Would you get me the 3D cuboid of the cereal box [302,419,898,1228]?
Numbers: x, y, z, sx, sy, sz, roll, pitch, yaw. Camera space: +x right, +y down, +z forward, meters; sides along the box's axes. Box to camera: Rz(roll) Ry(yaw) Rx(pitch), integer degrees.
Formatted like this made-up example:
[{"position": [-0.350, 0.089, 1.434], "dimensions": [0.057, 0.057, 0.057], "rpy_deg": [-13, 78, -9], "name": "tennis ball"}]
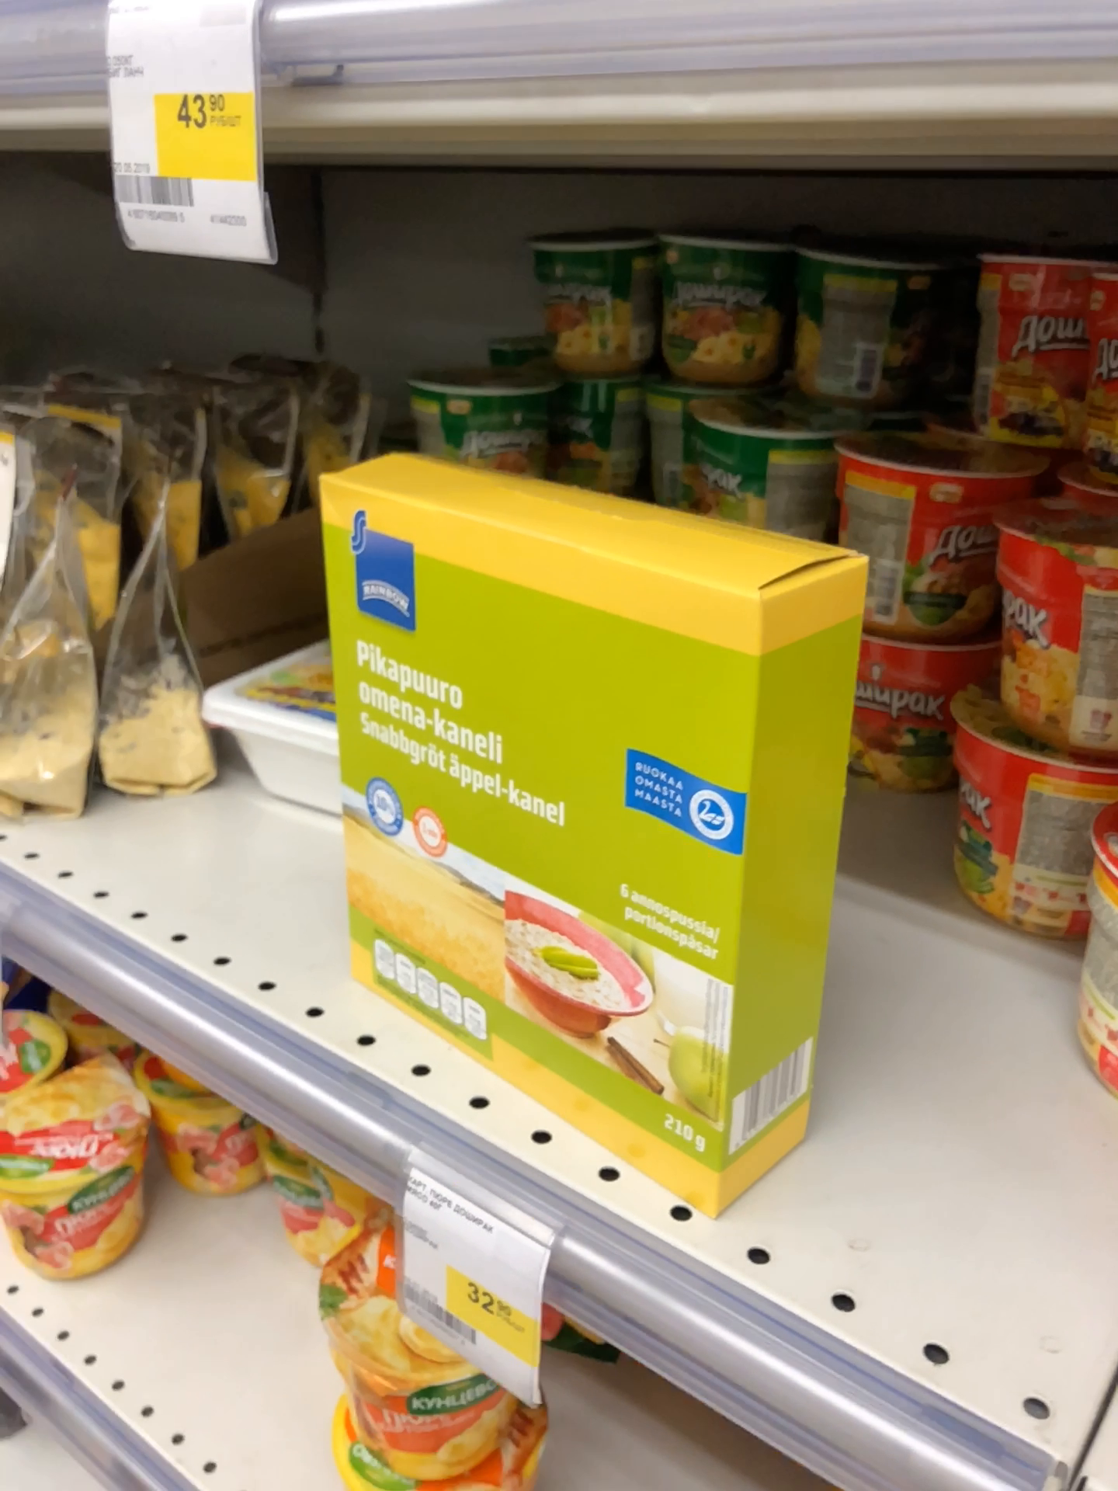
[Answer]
[{"position": [0.001, 0.013, 0.371], "dimensions": [0.170, 0.189, 0.050], "rpy_deg": [22, 31, 39], "name": "cereal box"}]
